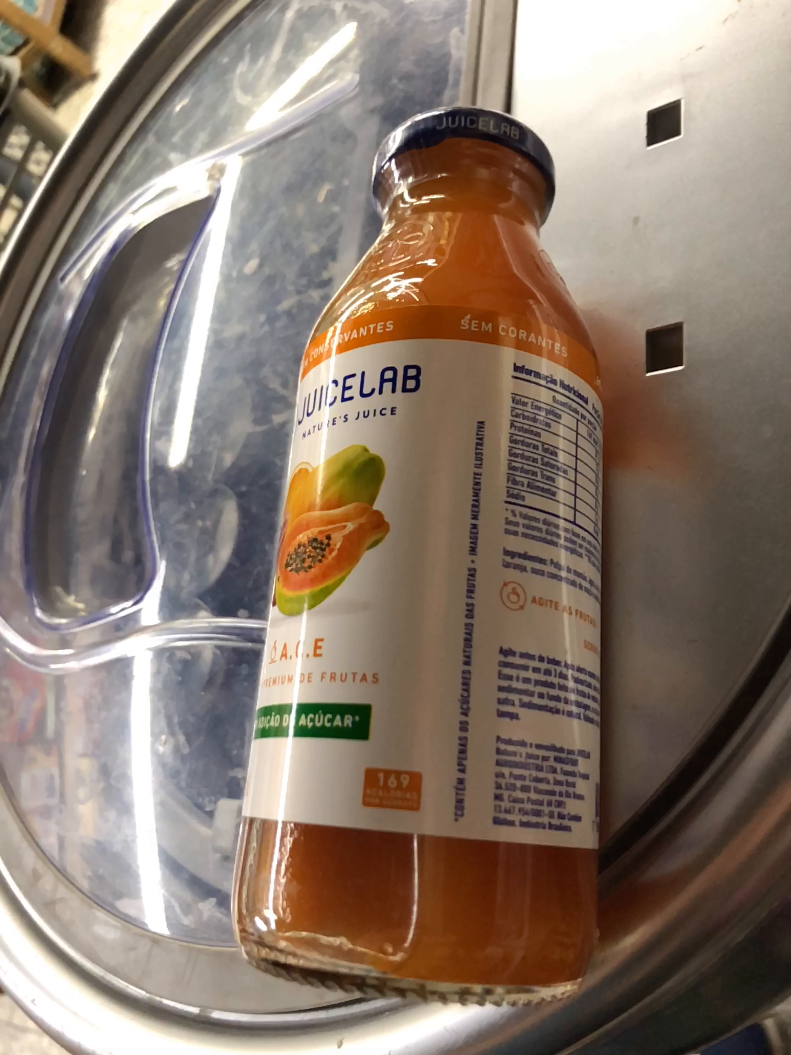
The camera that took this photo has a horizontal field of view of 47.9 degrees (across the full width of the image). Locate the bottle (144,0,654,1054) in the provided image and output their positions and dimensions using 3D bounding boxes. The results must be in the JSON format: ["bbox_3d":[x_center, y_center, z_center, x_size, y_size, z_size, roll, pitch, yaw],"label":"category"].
[{"bbox_3d":[0.006,-0.013,0.176,0.070,0.050,0.190,-11,67,43],"label":"bottle"}]
